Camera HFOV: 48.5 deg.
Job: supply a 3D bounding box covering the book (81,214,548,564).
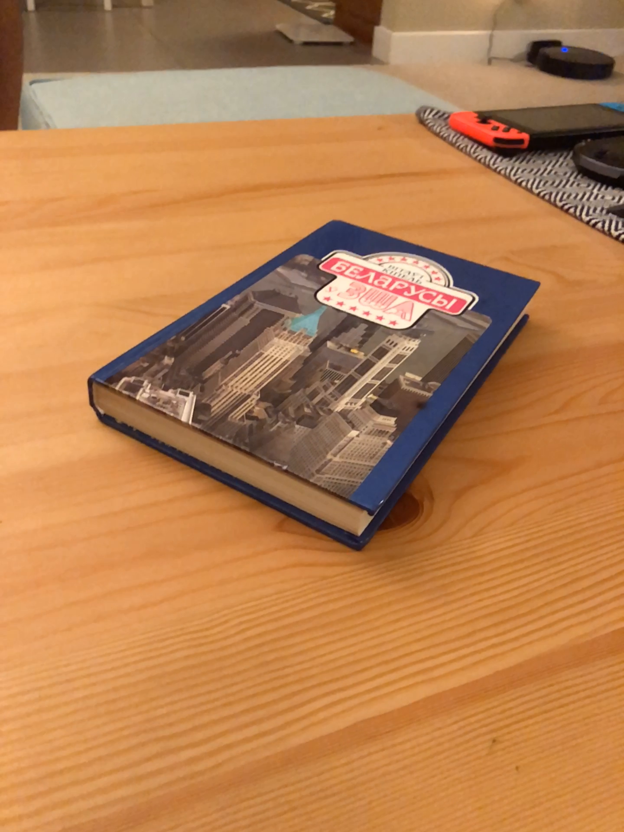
[{"bbox_3d":[0.017,-0.038,0.366,0.146,0.030,0.225,23,43,22],"label":"book"}]
